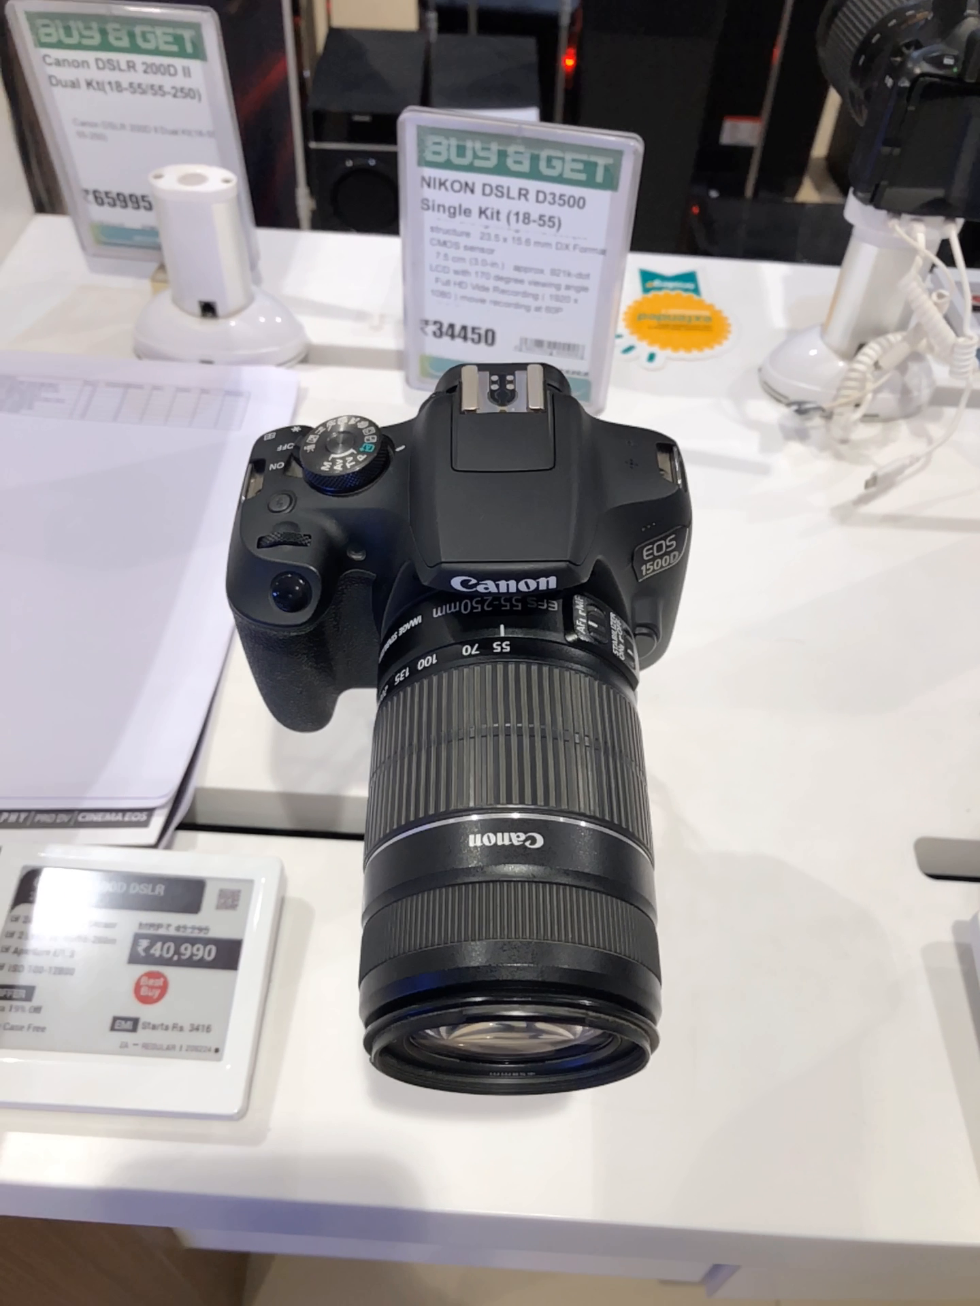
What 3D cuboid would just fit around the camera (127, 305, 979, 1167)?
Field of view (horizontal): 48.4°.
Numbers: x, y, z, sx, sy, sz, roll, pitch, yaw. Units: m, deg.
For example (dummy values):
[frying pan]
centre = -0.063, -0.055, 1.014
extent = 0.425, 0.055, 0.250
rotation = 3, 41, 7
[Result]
[camera]
centre = 0.005, 0.007, 0.277
extent = 0.140, 0.089, 0.201
rotation = -1, 50, -4
